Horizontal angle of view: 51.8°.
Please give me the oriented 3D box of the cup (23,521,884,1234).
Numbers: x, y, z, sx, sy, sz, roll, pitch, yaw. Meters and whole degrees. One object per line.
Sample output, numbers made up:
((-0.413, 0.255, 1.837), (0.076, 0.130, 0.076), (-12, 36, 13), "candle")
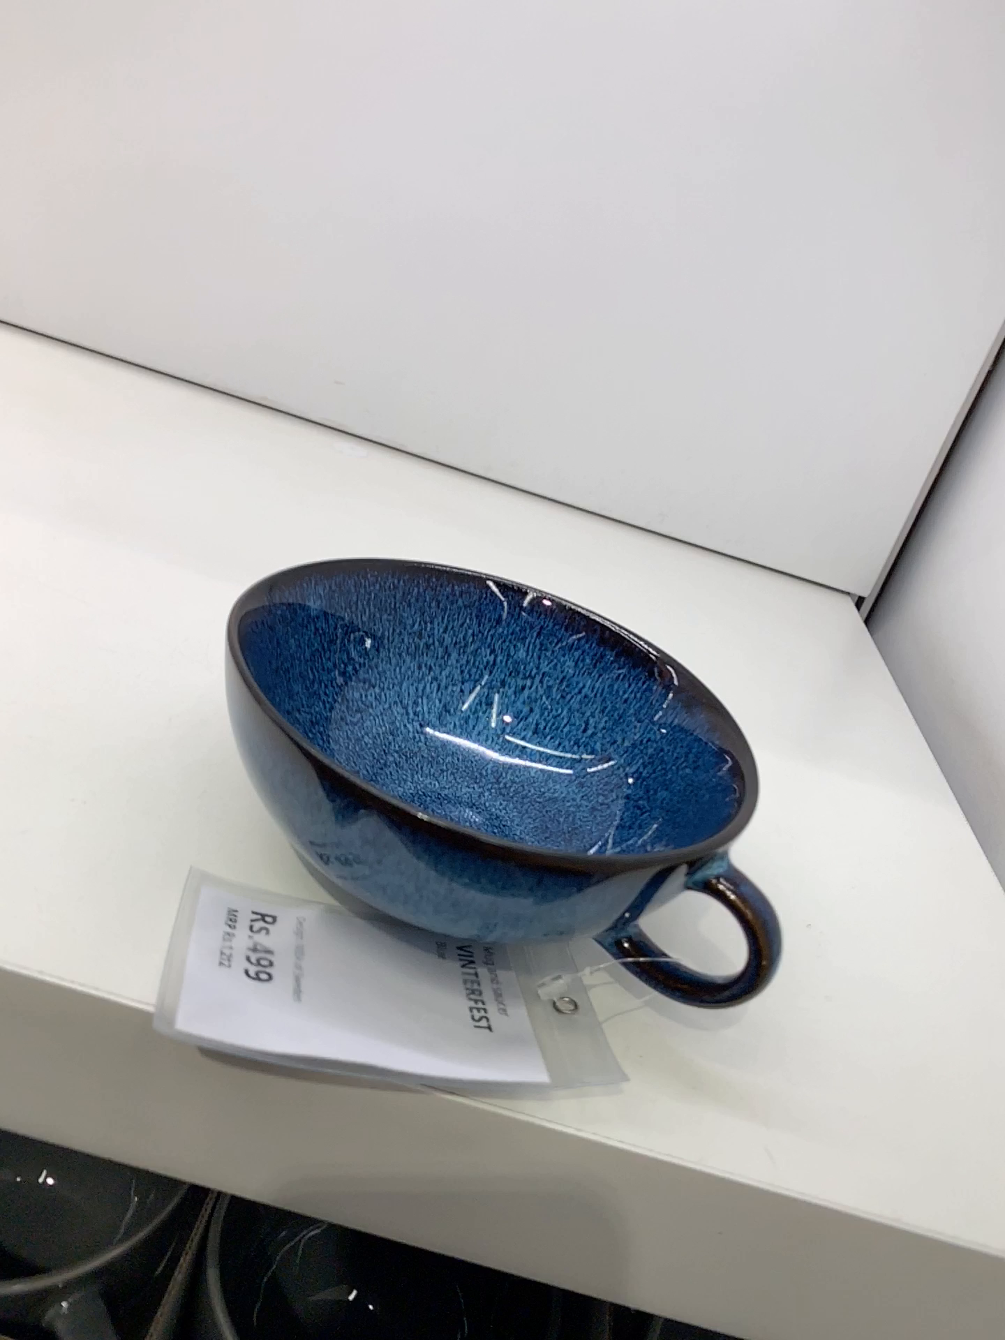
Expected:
((-0.008, 0.025, 0.255), (0.160, 0.050, 0.130), (31, 28, 24), "cup")
